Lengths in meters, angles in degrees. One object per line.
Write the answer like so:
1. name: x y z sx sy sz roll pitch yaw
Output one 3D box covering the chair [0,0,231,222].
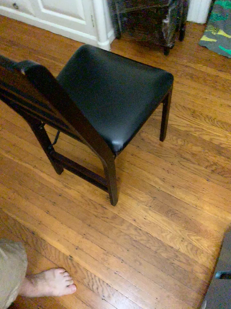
1. chair: -0.075 -0.235 0.795 0.491 0.868 0.550 25 67 17
